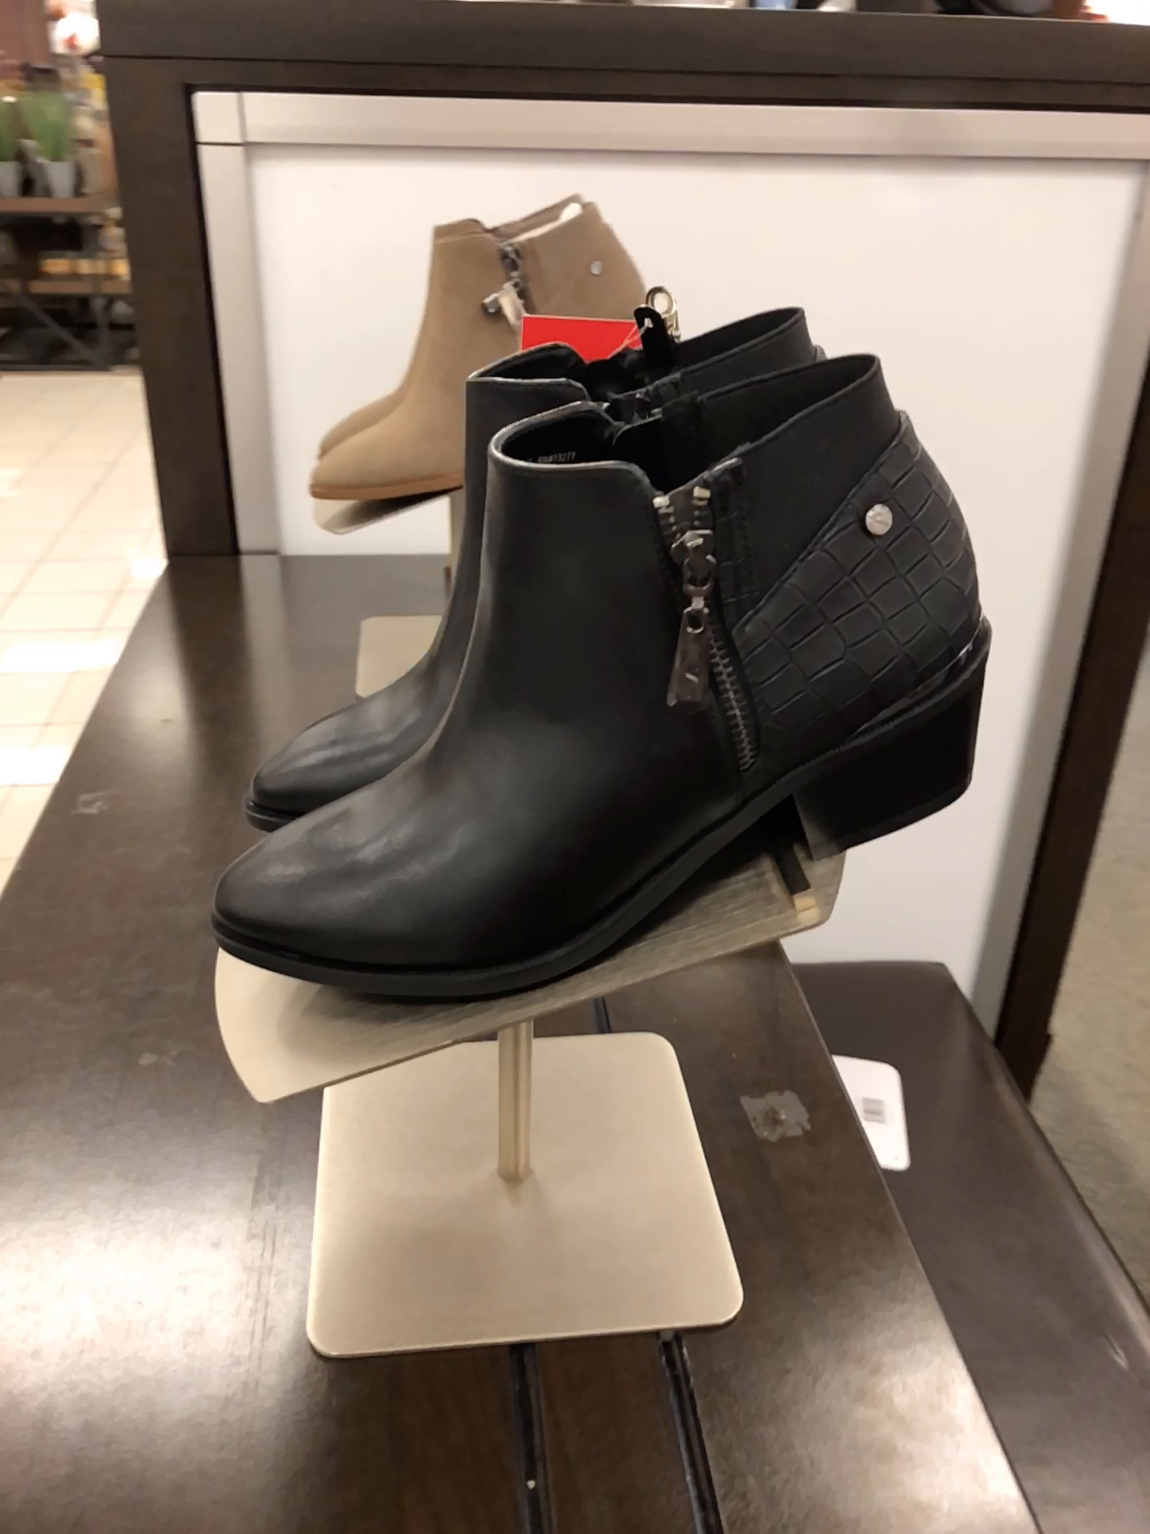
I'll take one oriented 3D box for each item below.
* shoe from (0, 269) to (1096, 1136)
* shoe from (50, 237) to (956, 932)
[{"bbox_3d":[-0.011,-0.017,0.347,0.243,0.131,0.105,-19,26,9],"label":"shoe"},{"bbox_3d":[-0.019,-0.062,0.433,0.243,0.131,0.105,-19,26,9],"label":"shoe"}]
